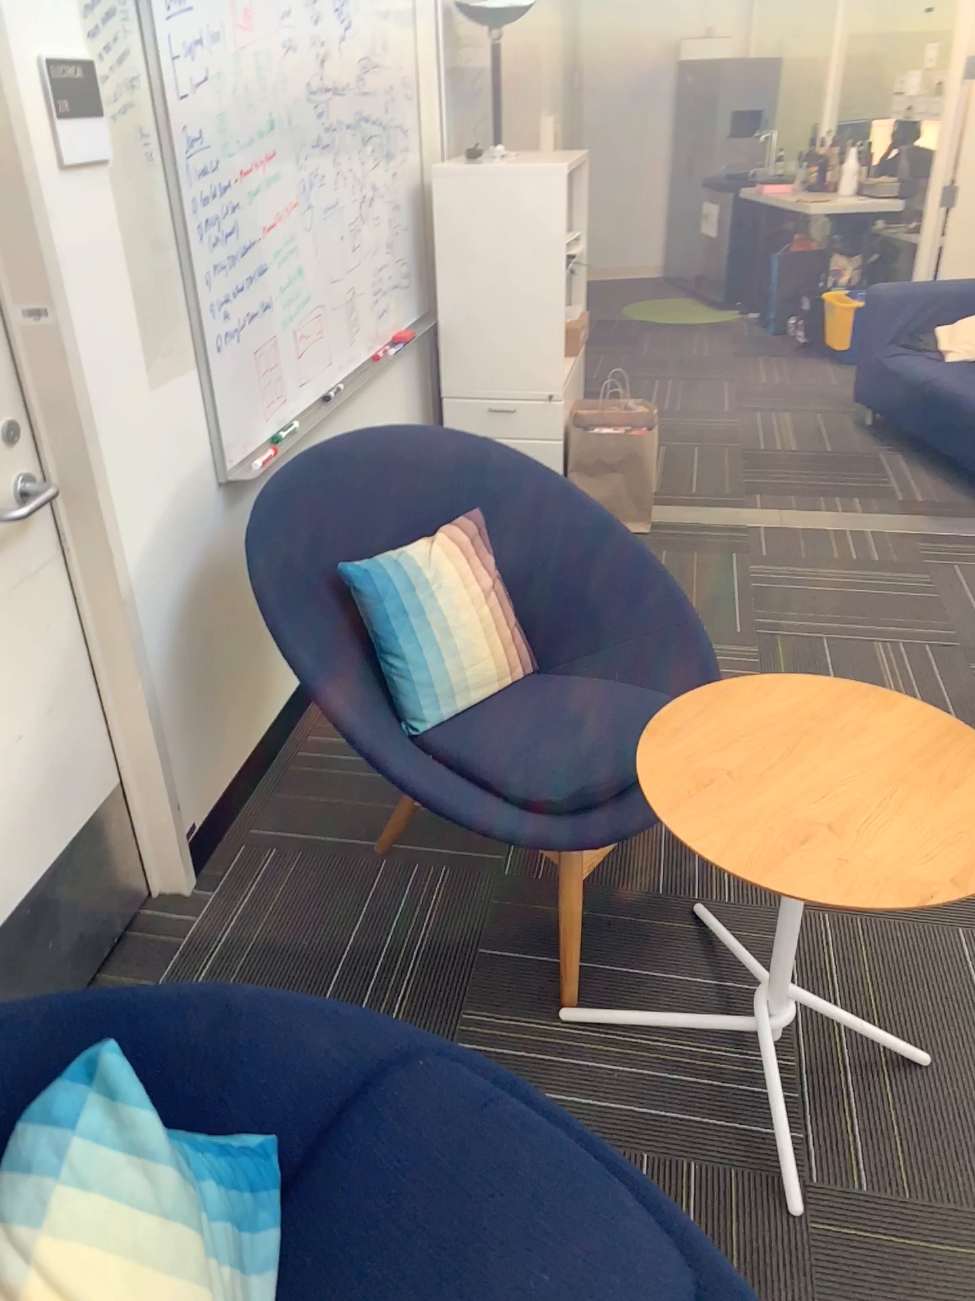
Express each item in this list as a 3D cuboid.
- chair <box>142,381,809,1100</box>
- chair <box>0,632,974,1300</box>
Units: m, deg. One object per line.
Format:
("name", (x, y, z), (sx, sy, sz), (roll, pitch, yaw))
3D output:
("chair", (-0.047, 0.071, 2.100), (0.831, 0.944, 0.985), (-23, 36, -33))
("chair", (-0.194, 0.628, 0.933), (0.841, 0.835, 0.794), (-25, 37, -35))
